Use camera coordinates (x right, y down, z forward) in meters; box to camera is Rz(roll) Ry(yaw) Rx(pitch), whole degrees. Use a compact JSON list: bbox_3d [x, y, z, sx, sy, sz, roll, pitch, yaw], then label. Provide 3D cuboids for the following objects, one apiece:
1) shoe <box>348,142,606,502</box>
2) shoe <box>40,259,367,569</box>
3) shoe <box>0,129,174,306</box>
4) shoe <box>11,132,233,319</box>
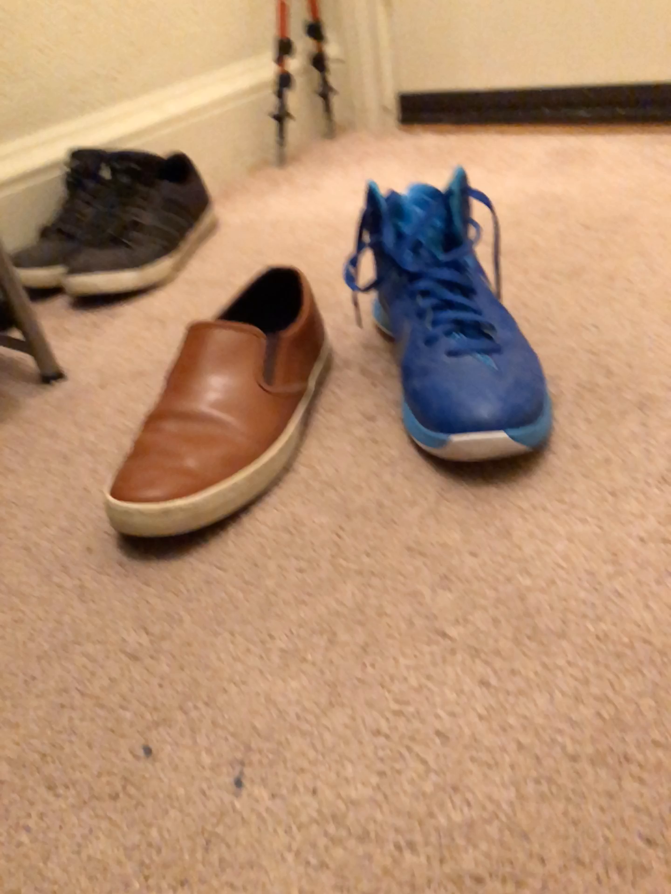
[{"bbox_3d":[0.090,-0.115,0.568,0.115,0.142,0.294,-10,35,1],"label":"shoe"},{"bbox_3d":[-0.076,-0.046,0.561,0.105,0.083,0.284,6,38,22],"label":"shoe"},{"bbox_3d":[-0.327,-0.297,0.934,0.115,0.112,0.294,0,37,15],"label":"shoe"},{"bbox_3d":[-0.236,-0.274,0.887,0.115,0.112,0.294,0,37,15],"label":"shoe"}]
